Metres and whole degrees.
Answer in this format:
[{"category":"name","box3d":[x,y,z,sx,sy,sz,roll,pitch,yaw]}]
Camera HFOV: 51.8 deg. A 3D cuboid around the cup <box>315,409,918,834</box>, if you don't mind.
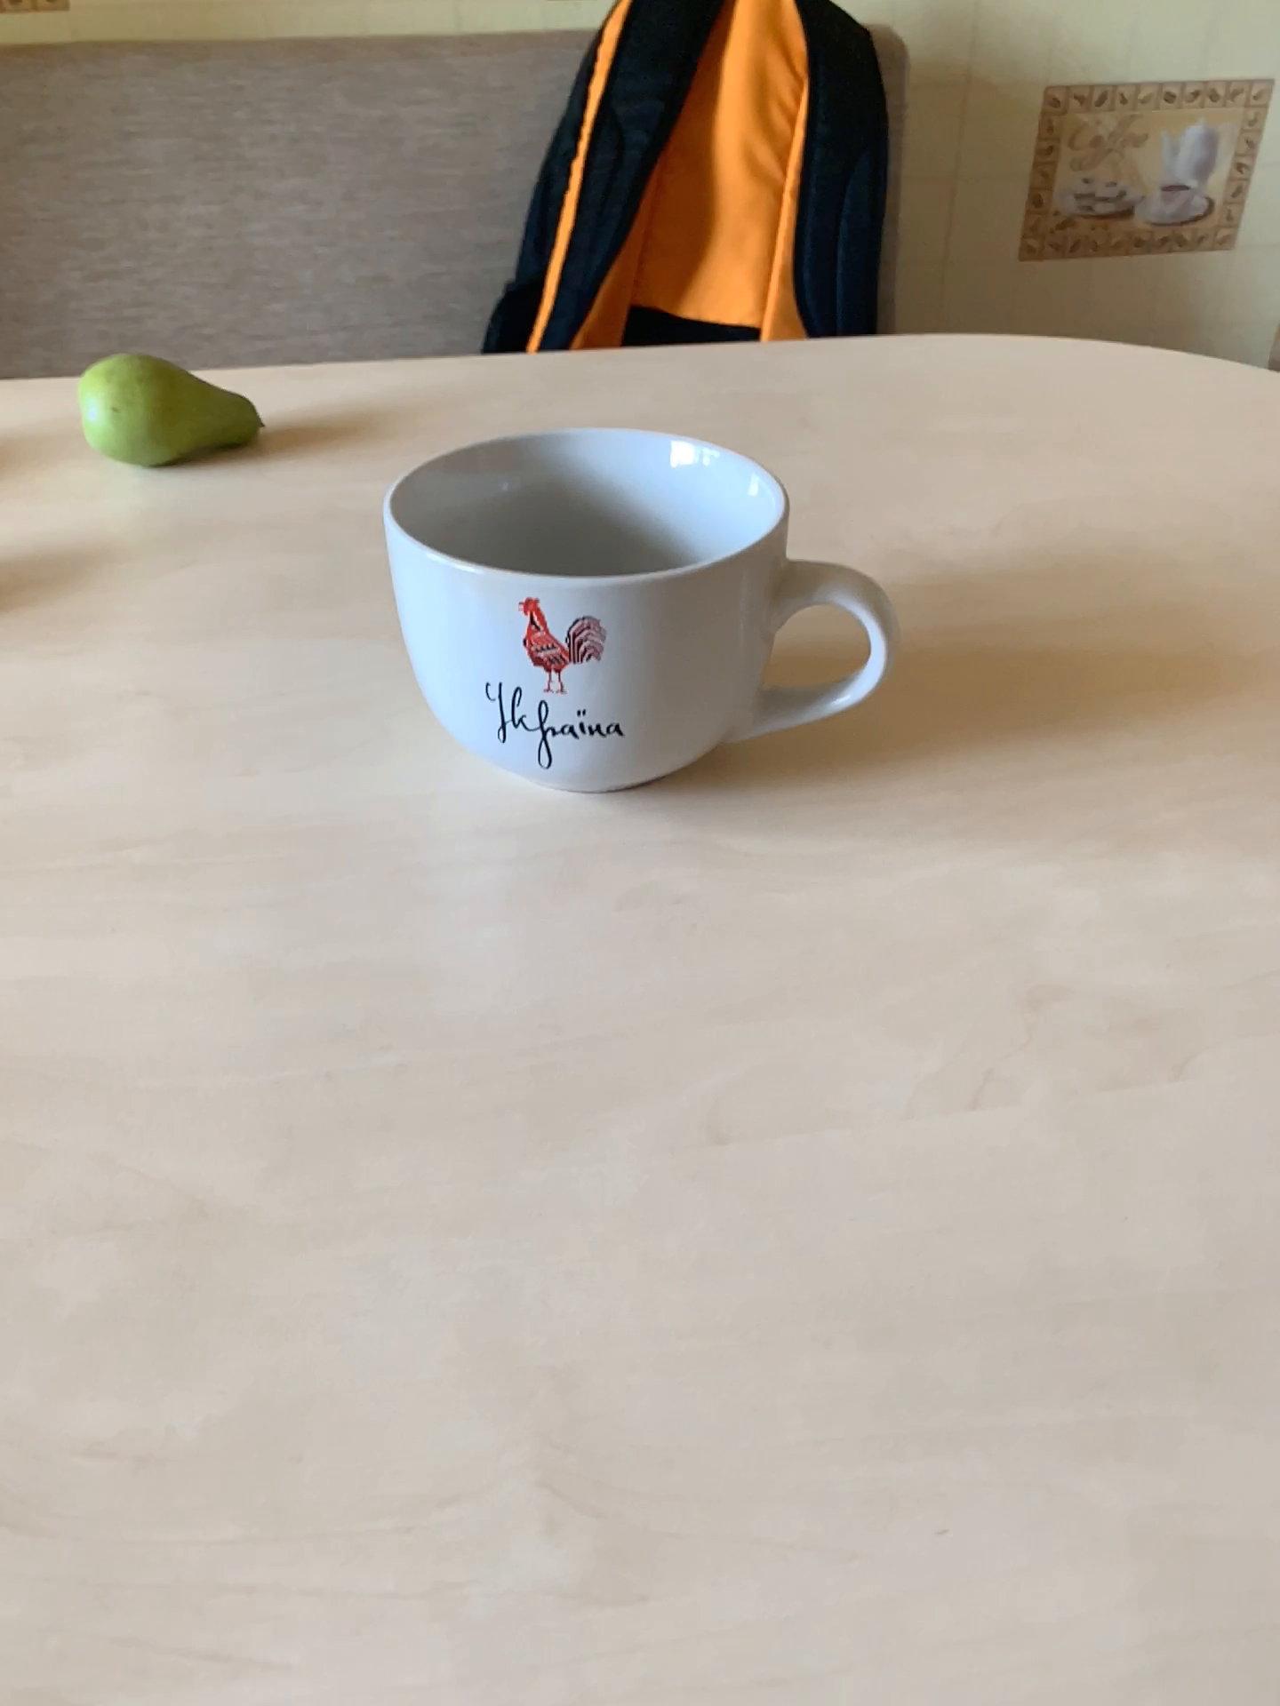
[{"category":"cup","box3d":[0.000,-0.067,0.347,0.130,0.060,0.100,8,37,11]}]
